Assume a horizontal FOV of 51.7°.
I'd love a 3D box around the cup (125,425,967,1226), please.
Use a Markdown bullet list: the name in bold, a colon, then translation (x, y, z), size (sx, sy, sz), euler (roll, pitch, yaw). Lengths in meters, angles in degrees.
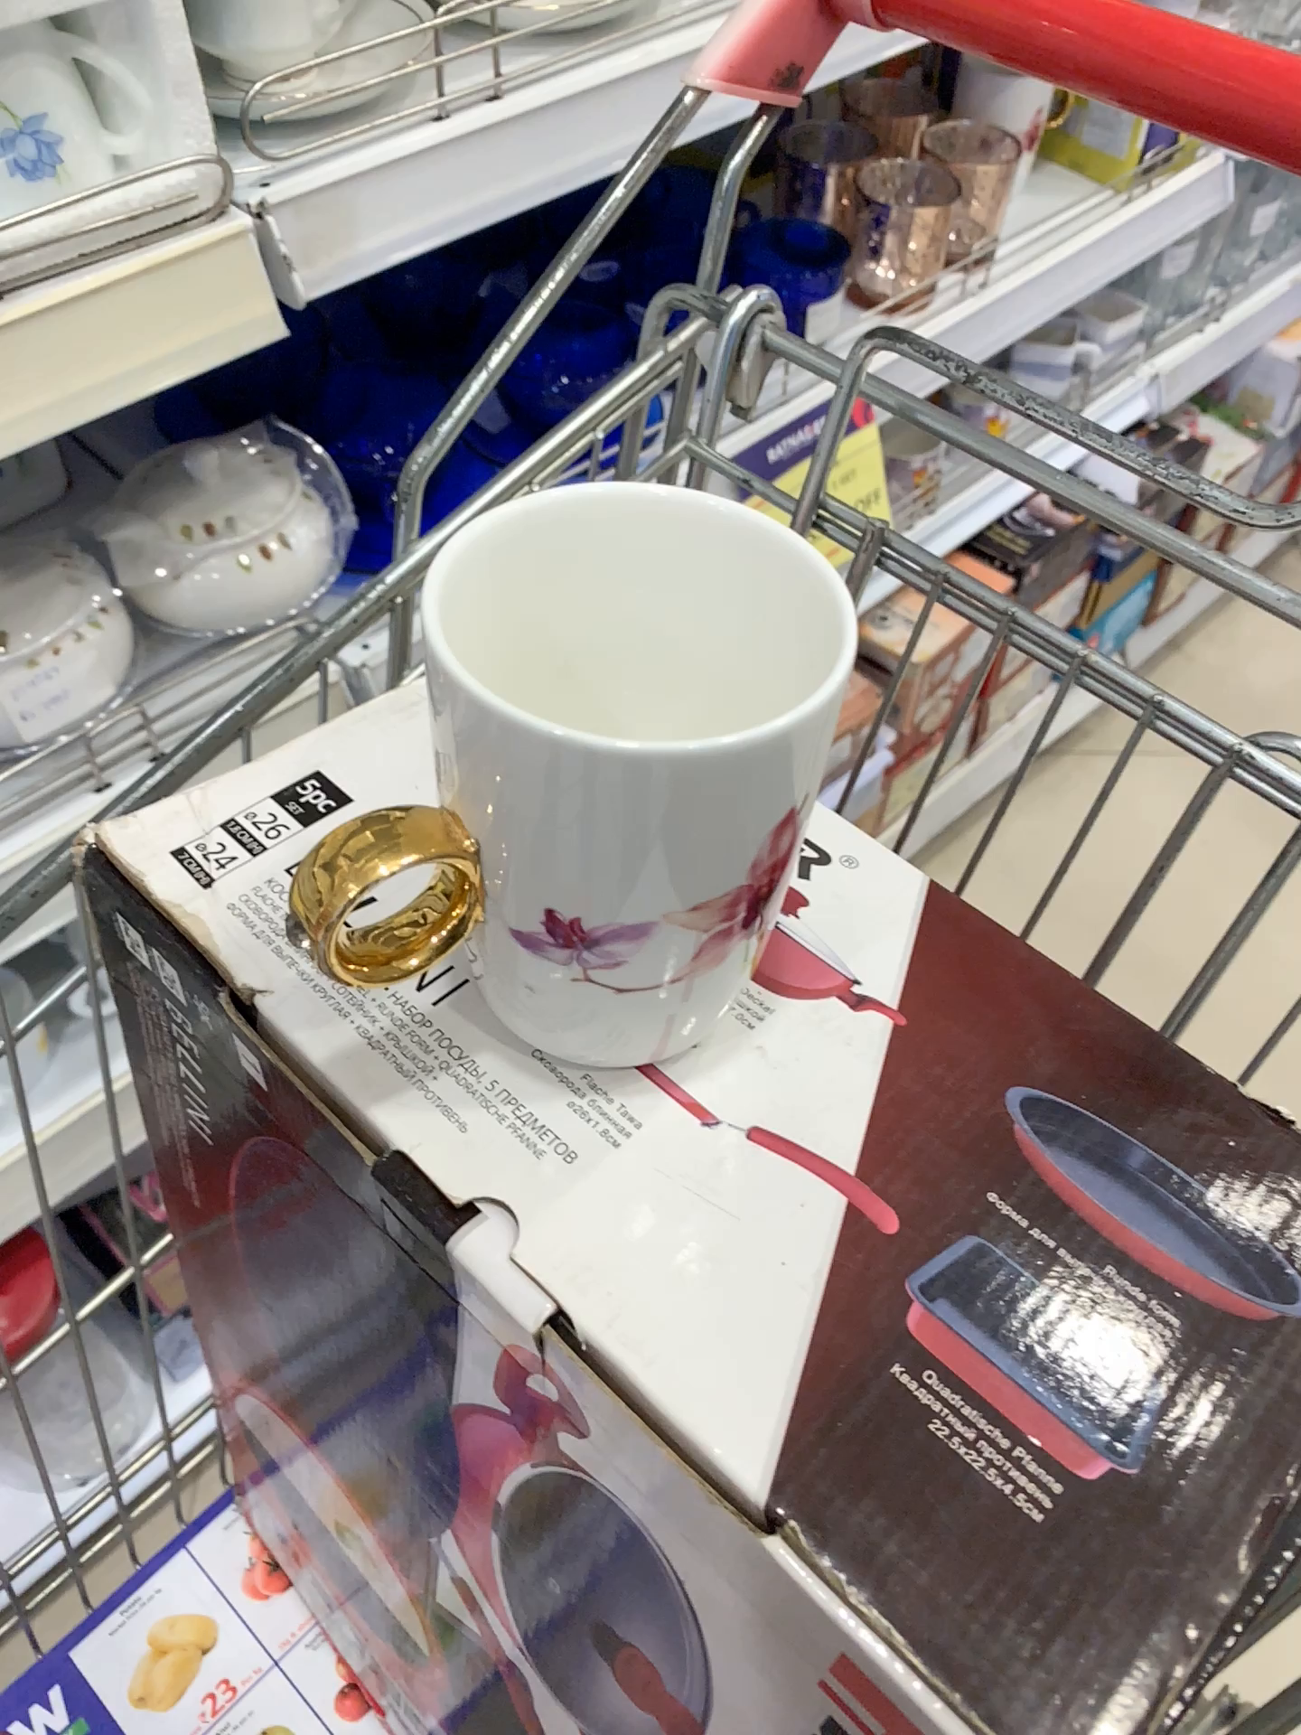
- **cup**: translation (-0.018, -0.009, 0.242), size (0.110, 0.090, 0.070), euler (-22, 54, -22)
